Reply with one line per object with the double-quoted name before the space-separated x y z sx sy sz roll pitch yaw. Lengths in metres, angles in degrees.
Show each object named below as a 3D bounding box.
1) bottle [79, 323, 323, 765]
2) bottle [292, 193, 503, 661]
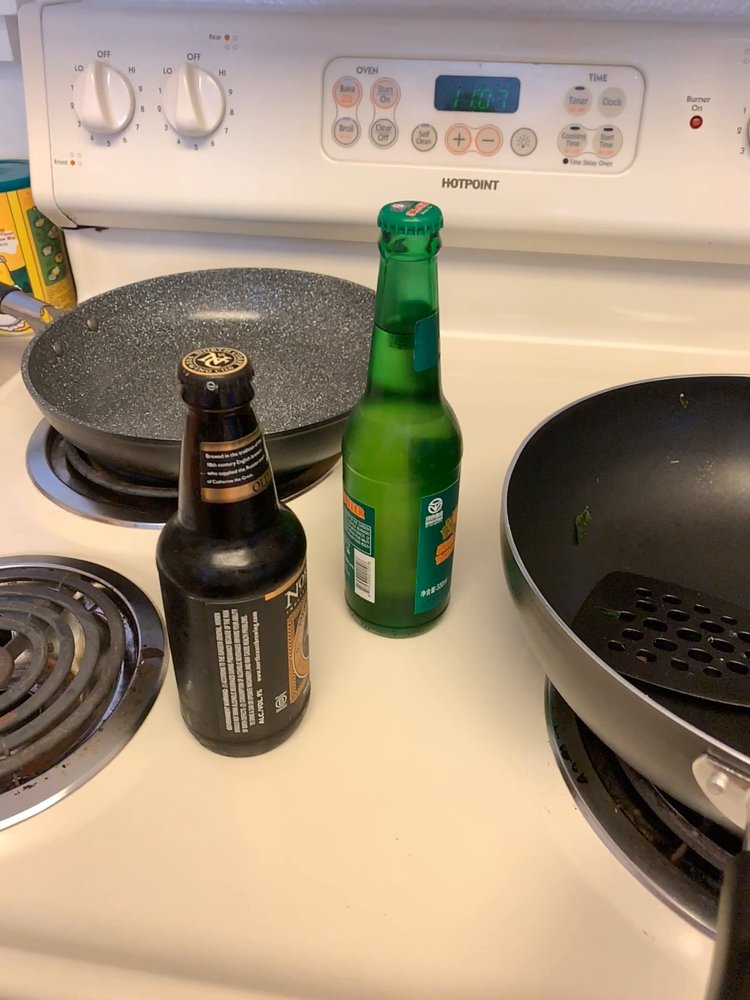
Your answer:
"bottle" -0.063 0.027 0.337 0.070 0.189 0.070 0 35 0
"bottle" 0.008 -0.027 0.371 0.060 0.209 0.060 0 35 0
